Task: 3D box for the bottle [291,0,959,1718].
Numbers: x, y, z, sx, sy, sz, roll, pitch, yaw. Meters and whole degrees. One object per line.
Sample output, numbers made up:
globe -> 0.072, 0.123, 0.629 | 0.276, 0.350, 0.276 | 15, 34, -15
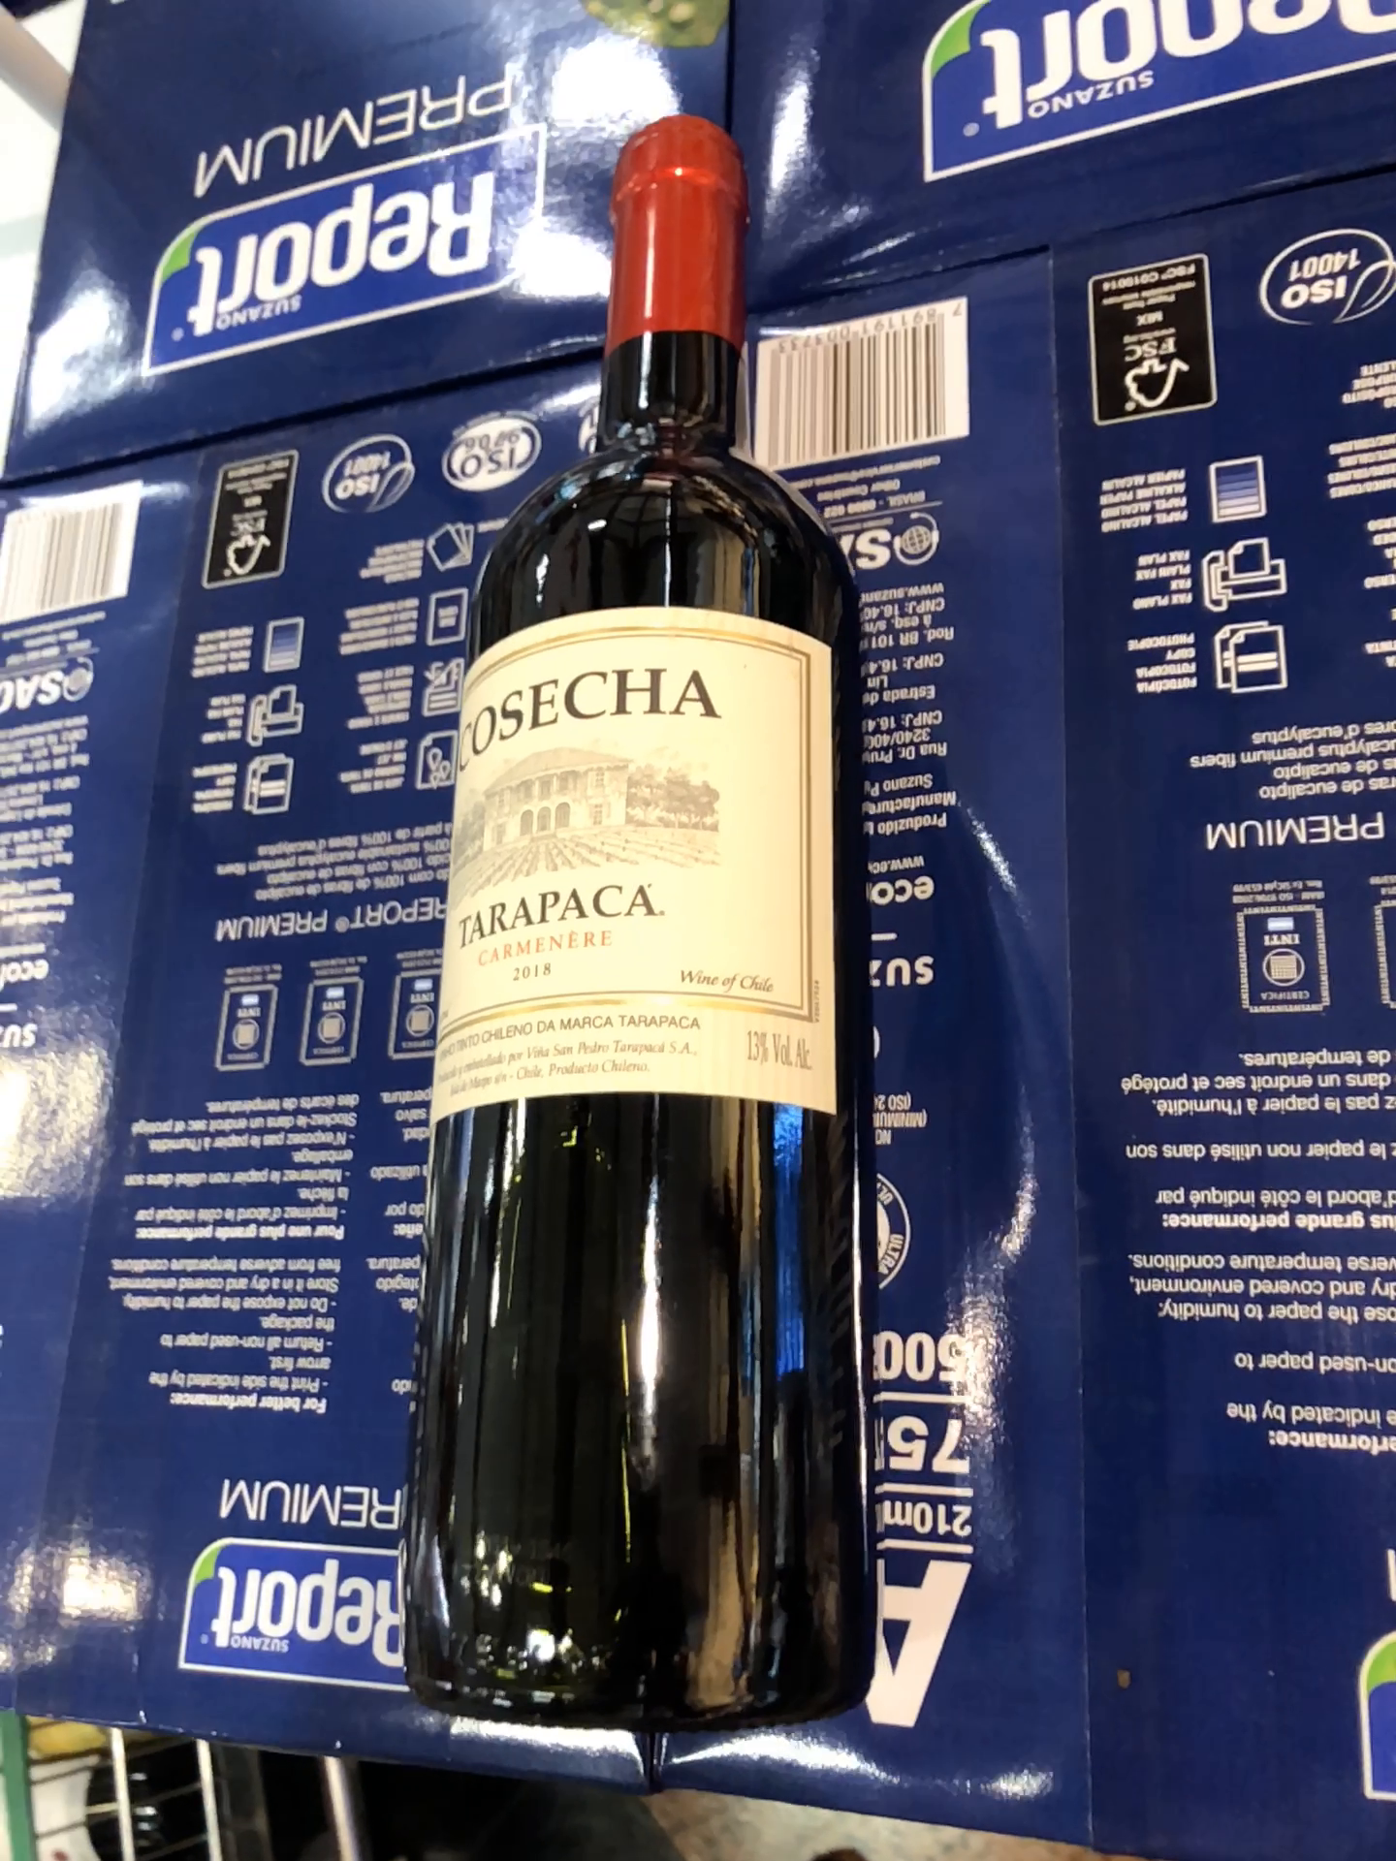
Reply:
bottle -> -0.010, -0.046, 0.283 | 0.080, 0.060, 0.331 | -8, 69, 19
